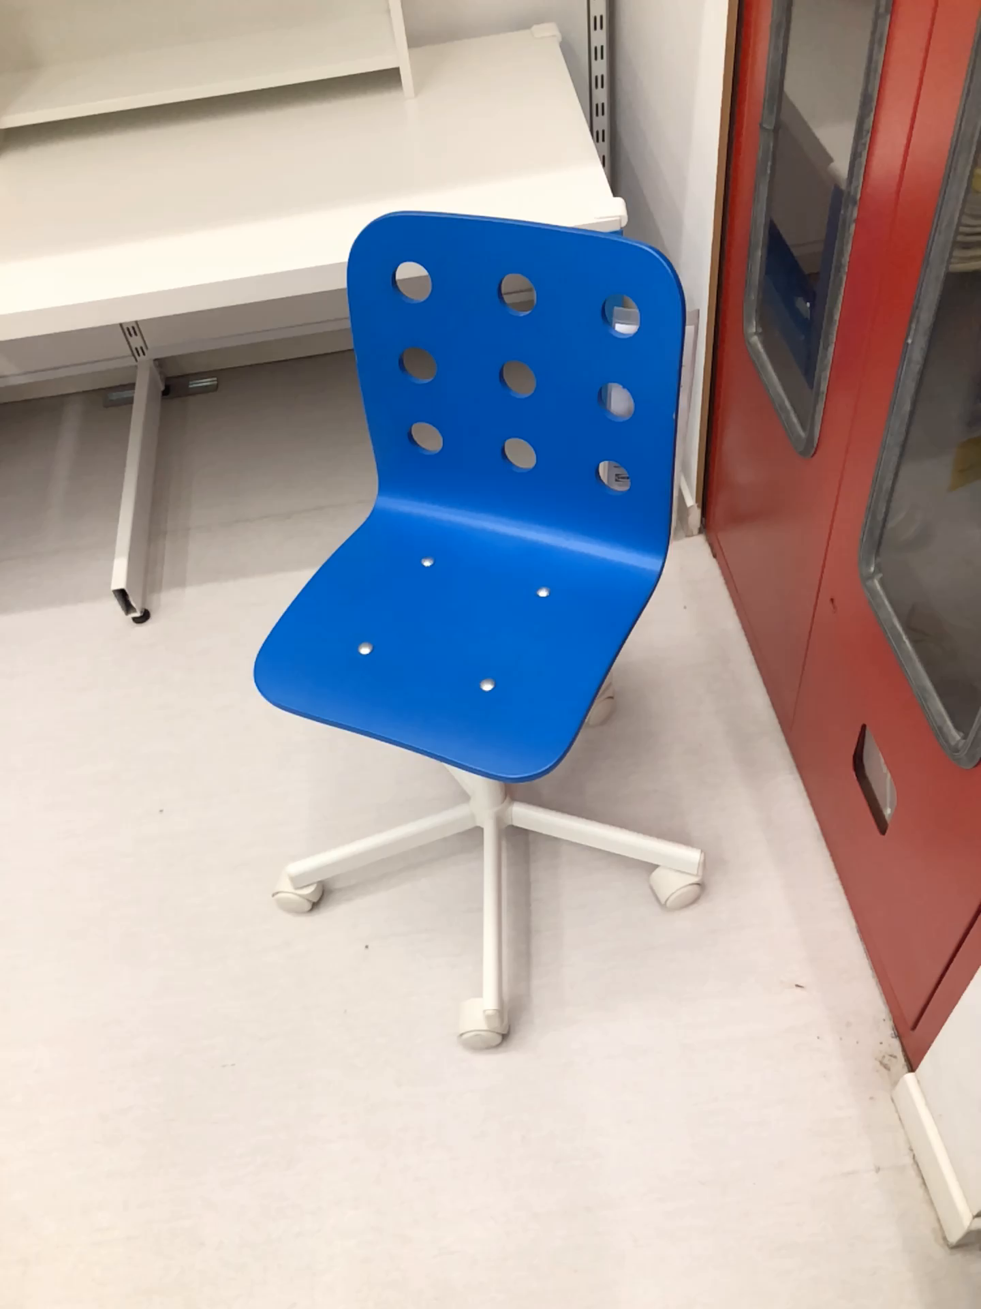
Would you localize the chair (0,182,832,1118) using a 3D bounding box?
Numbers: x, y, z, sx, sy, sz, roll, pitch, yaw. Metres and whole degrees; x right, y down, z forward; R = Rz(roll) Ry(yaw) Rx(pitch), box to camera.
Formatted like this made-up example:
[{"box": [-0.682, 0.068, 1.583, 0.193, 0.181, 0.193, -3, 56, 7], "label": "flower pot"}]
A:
[{"box": [-0.050, -0.008, 1.097, 0.571, 0.626, 0.562, 16, 55, 19], "label": "chair"}]
